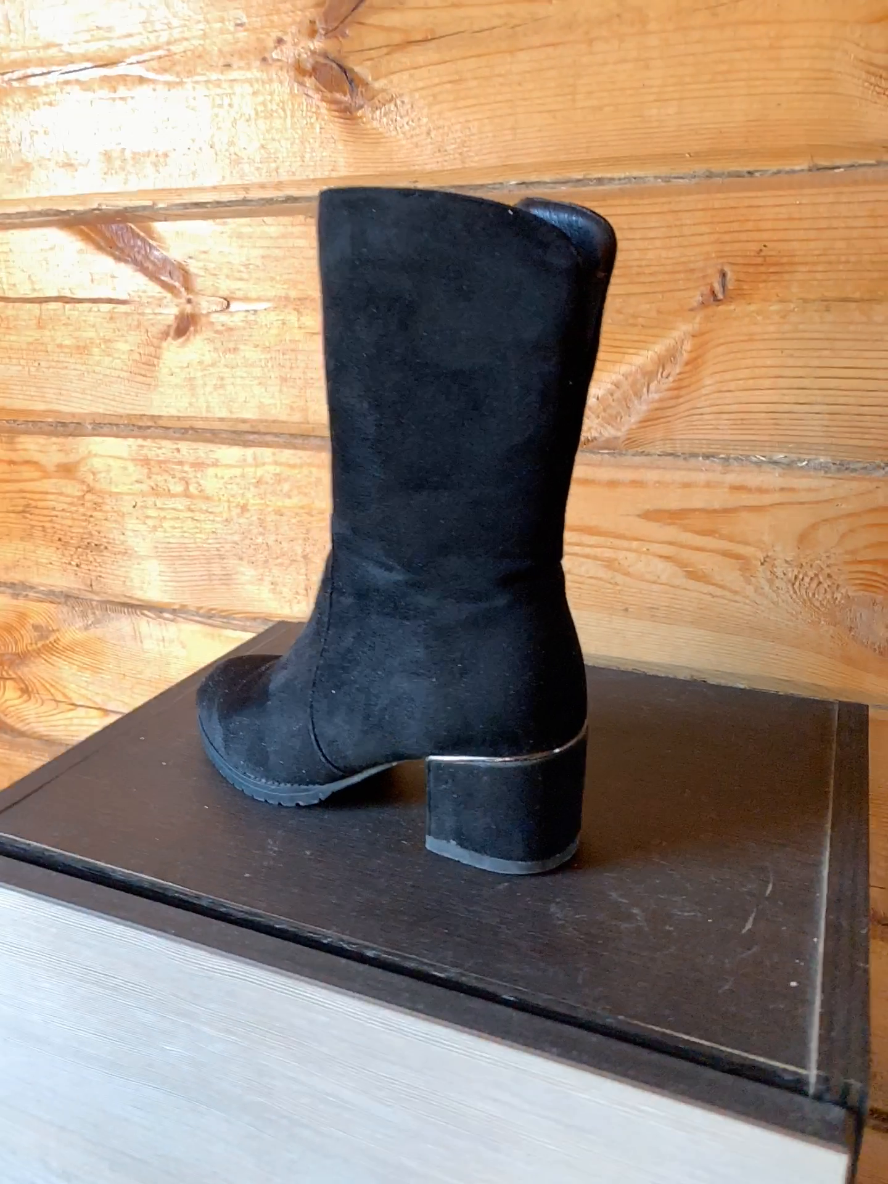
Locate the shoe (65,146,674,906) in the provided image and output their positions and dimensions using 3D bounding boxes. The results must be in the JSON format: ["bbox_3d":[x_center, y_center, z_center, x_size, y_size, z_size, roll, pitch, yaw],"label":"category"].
[{"bbox_3d":[-0.034,-0.037,0.412,0.232,0.268,0.101,10,20,29],"label":"shoe"}]
